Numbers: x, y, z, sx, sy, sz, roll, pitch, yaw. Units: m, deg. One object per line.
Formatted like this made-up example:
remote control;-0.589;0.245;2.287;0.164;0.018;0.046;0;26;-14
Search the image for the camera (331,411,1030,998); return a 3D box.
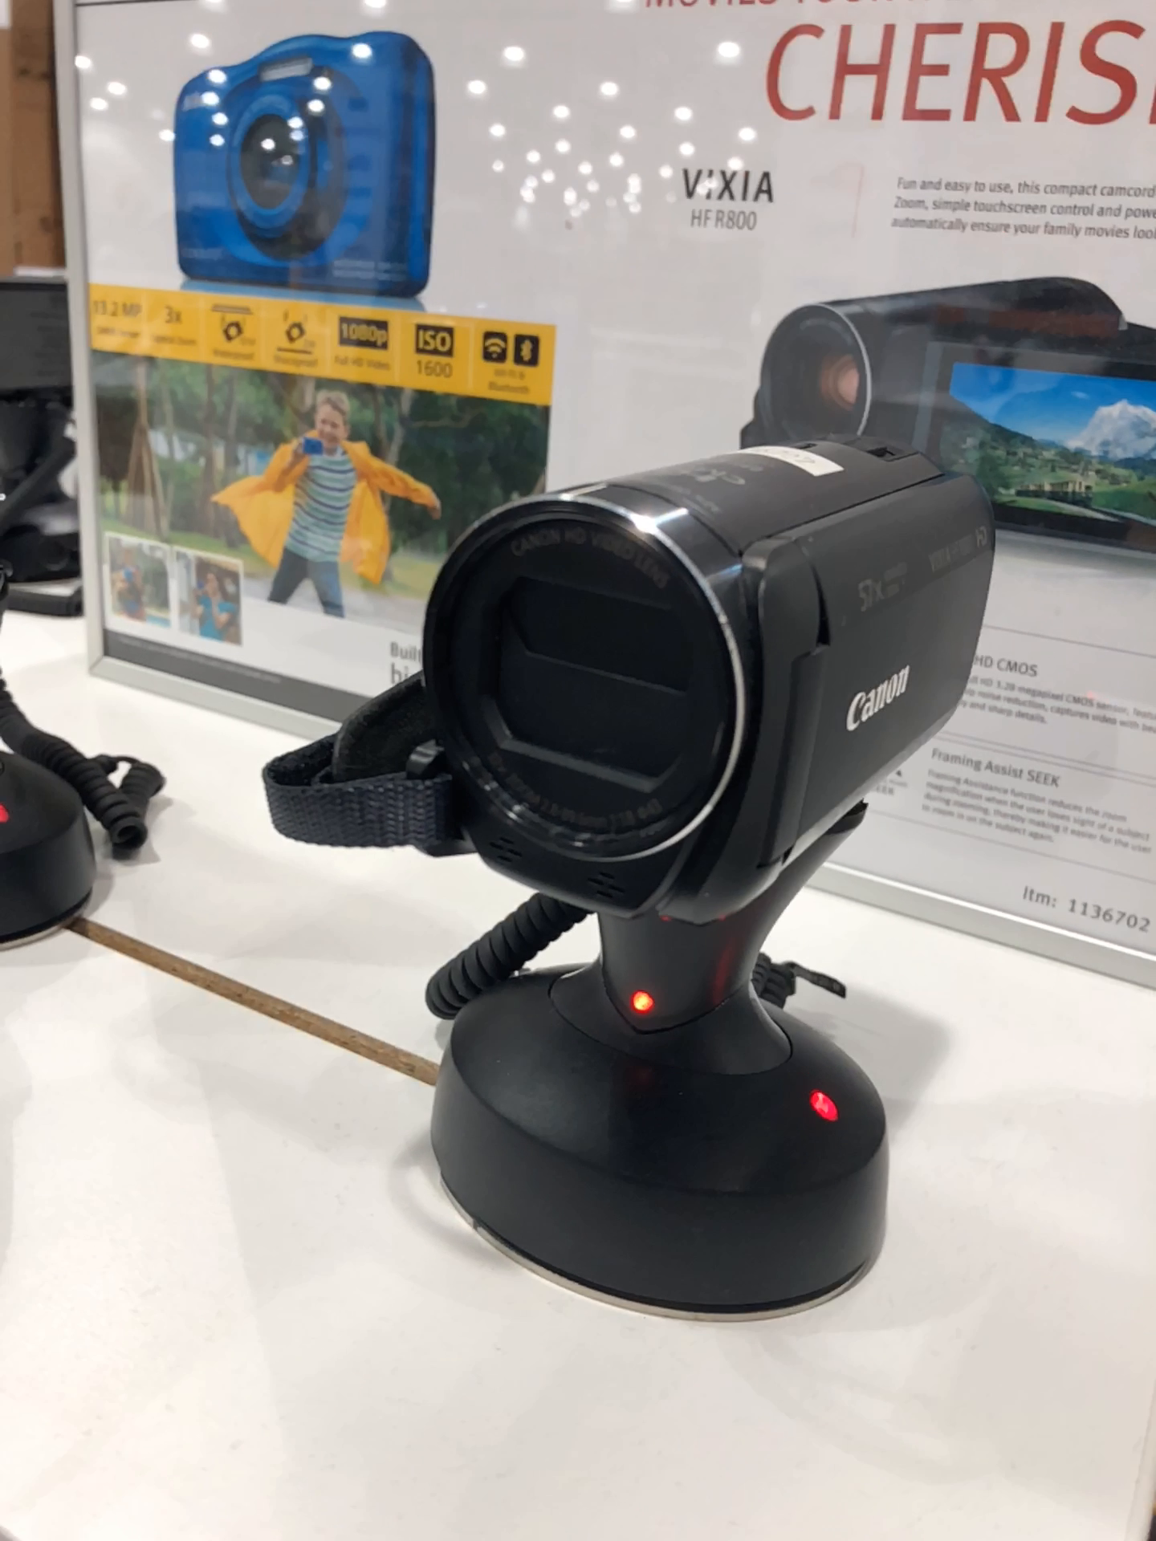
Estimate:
camera;0.025;-0.024;0.220;0.060;0.060;0.130;16;23;27
